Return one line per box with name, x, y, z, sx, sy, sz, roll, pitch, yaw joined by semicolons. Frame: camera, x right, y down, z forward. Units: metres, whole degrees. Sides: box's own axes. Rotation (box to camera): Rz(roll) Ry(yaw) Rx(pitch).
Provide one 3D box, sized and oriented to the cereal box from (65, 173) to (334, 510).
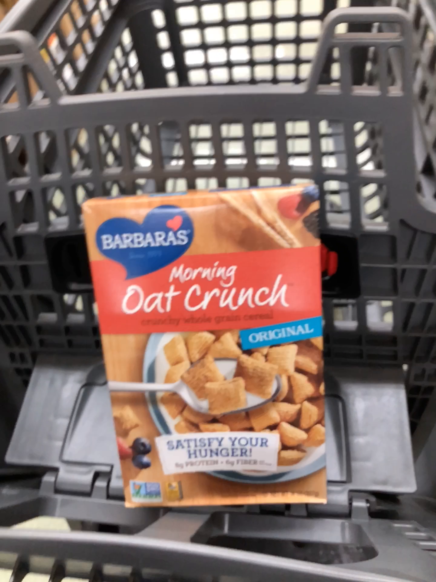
cereal box;-0.005;0.046;0.400;0.180;0.260;0.060;-4;15;6
